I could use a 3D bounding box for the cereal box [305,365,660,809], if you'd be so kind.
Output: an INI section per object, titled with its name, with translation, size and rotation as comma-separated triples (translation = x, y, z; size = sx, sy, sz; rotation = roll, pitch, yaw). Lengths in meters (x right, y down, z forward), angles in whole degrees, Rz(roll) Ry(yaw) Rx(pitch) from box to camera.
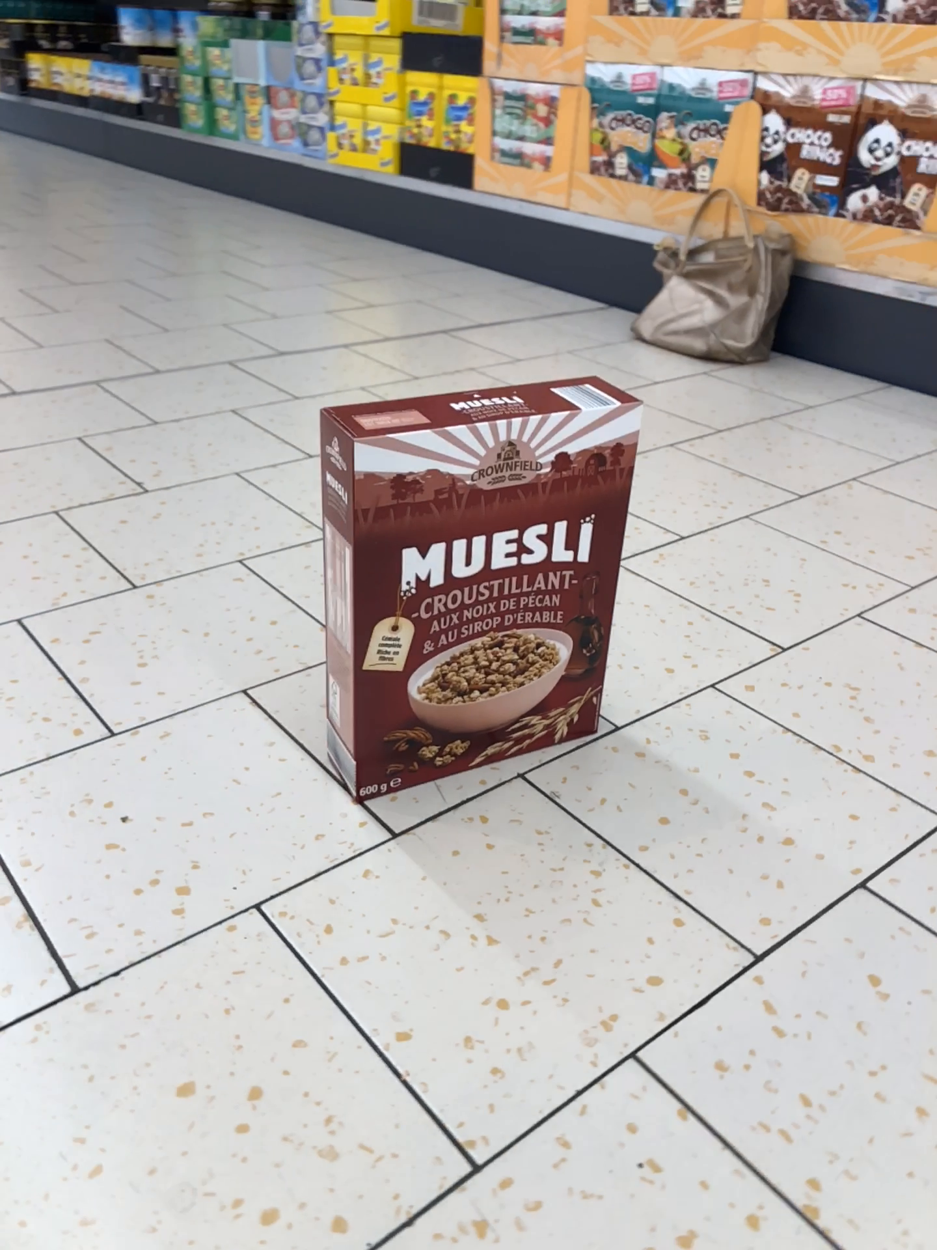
[cereal box]
translation = 0.007, -0.025, 0.656
size = 0.201, 0.249, 0.060
rotation = -12, 31, -24
